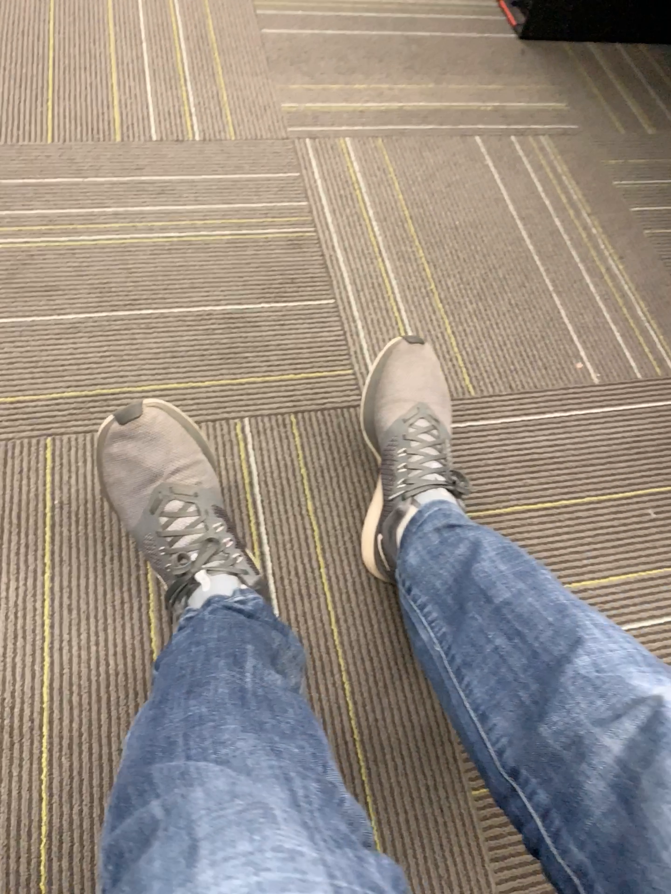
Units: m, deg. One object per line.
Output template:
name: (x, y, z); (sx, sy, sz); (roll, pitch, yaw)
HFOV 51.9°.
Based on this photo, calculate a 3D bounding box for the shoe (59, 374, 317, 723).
shoe: (-0.135, 0.099, 0.663); (0.119, 0.293, 0.122); (-26, 31, -14)

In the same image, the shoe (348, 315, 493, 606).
shoe: (0.089, 0.009, 0.764); (0.119, 0.122, 0.294); (-2, 95, -15)
